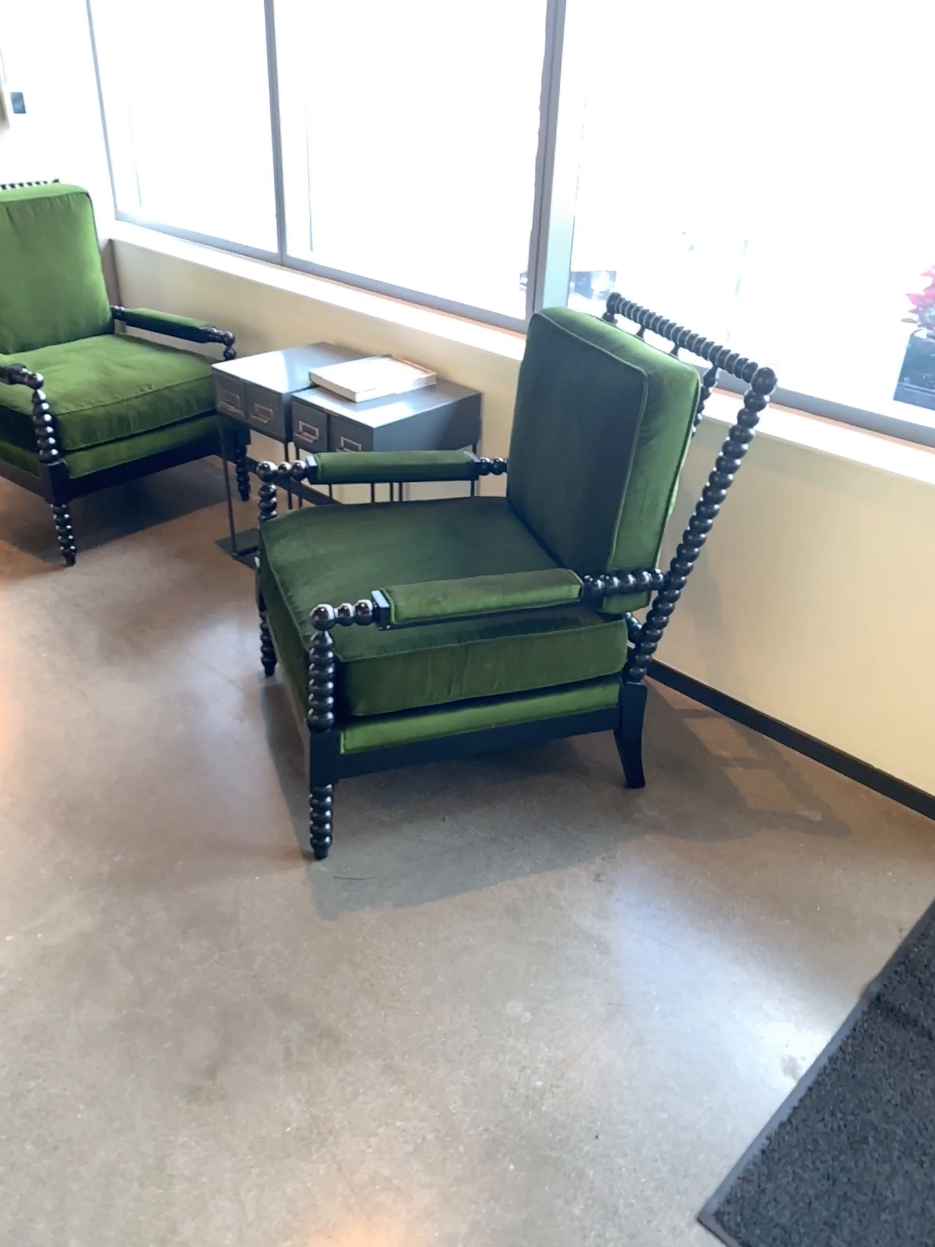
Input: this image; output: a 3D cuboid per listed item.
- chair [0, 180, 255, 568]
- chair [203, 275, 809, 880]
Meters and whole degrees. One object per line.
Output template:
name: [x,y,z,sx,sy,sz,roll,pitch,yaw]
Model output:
chair: [-1.367,-0.885,3.141,0.913,0.924,0.843,23,37,30]
chair: [-0.013,-0.181,2.088,0.940,0.924,0.876,-8,32,-17]
